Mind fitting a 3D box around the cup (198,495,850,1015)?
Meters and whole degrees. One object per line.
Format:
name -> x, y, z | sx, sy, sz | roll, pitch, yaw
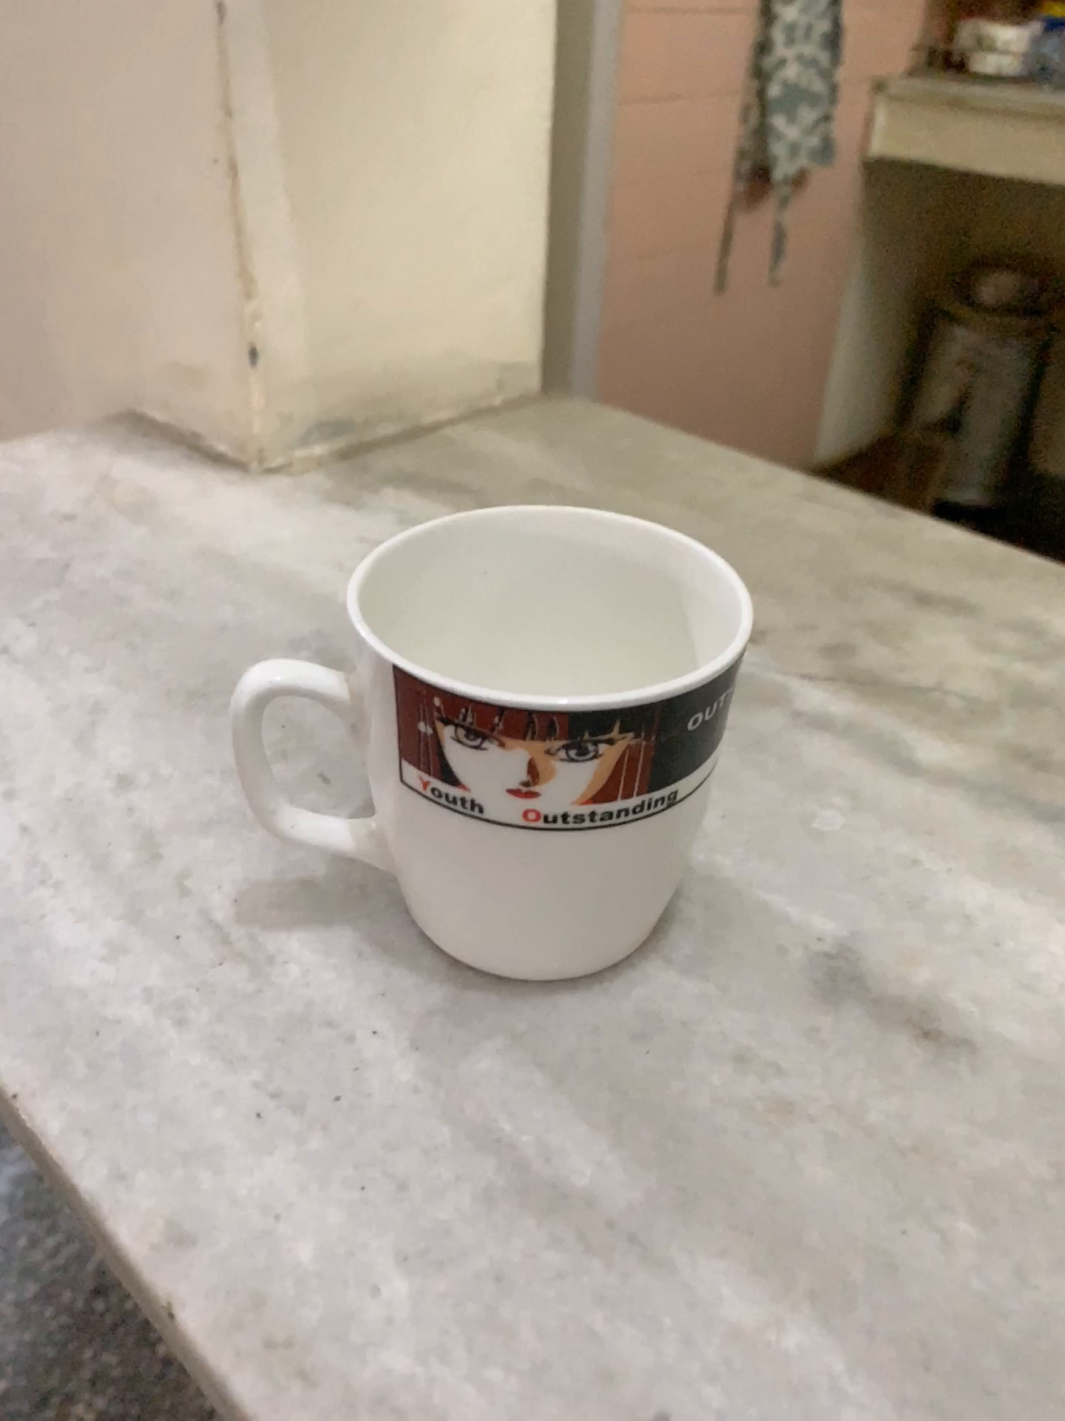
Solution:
cup -> -0.004, 0.004, 0.199 | 0.090, 0.060, 0.070 | -1, 34, -6
